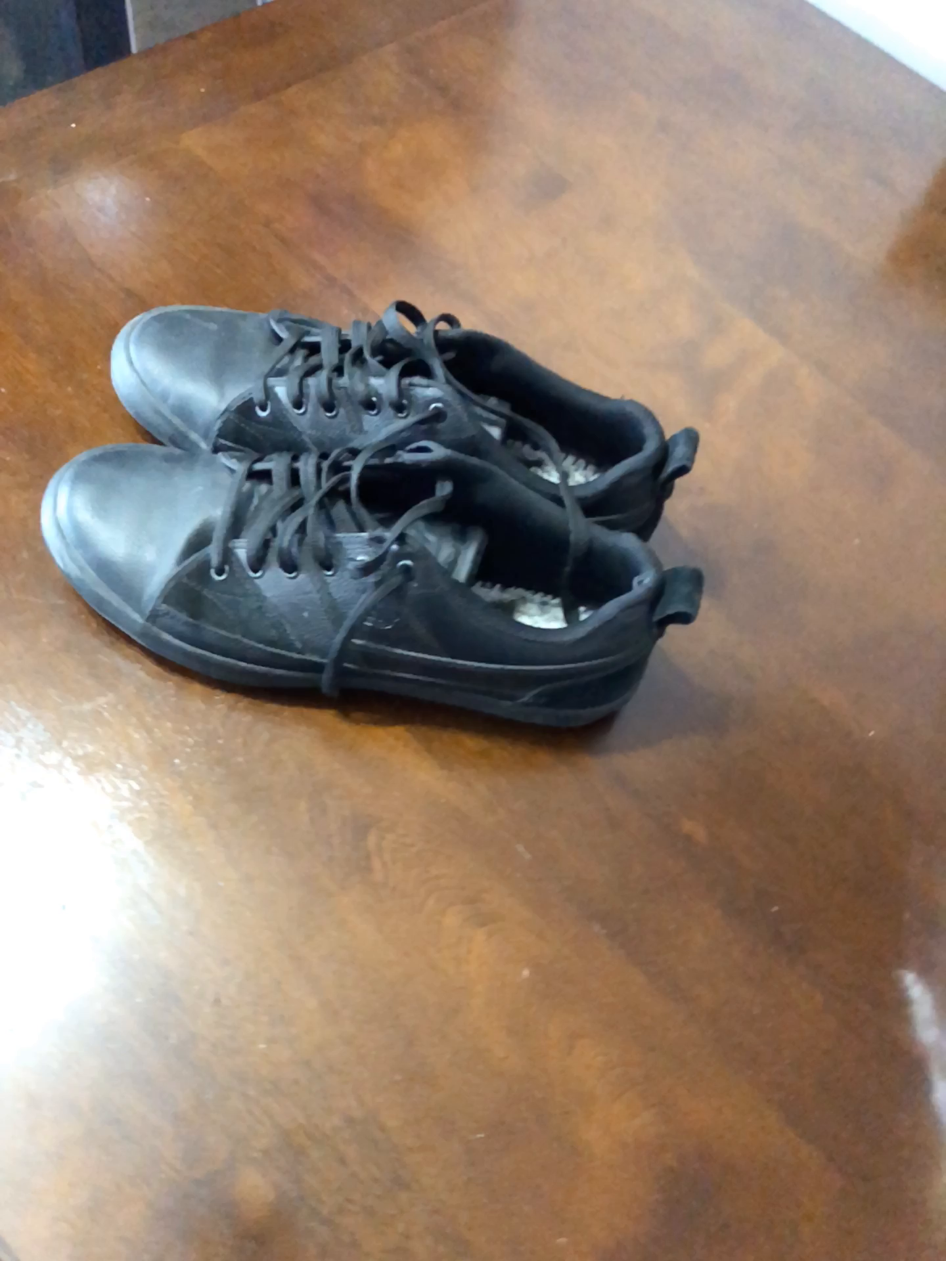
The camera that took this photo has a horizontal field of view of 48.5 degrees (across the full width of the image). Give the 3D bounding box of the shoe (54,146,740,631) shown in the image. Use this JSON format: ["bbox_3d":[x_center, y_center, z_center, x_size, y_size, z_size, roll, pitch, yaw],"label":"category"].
[{"bbox_3d":[-0.035,-0.119,0.534,0.300,0.110,0.110,19,59,0],"label":"shoe"}]

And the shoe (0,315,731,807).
[{"bbox_3d":[-0.050,-0.026,0.479,0.300,0.110,0.110,15,59,-2],"label":"shoe"}]
